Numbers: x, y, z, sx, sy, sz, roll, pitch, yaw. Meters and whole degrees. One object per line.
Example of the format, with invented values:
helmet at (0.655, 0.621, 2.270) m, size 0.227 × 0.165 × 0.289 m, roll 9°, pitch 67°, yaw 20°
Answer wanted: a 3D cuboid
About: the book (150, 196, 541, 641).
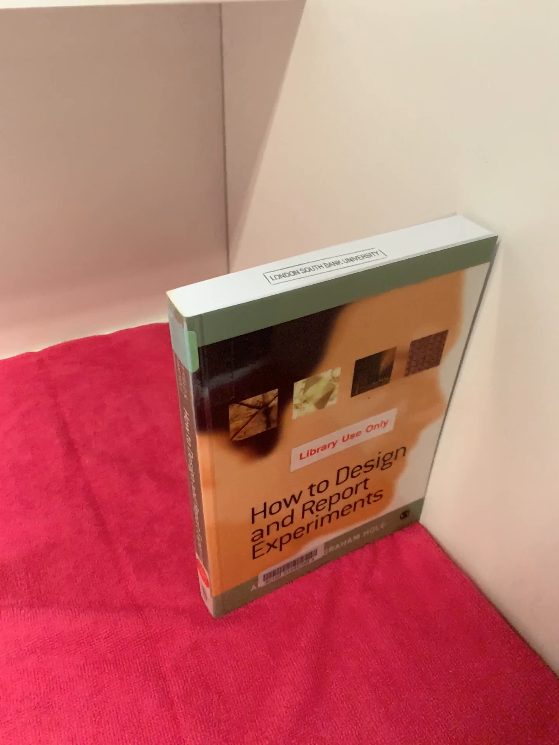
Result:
book at (0.034, 0.038, 0.344) m, size 0.190 × 0.248 × 0.040 m, roll -18°, pitch 43°, yaw -23°
